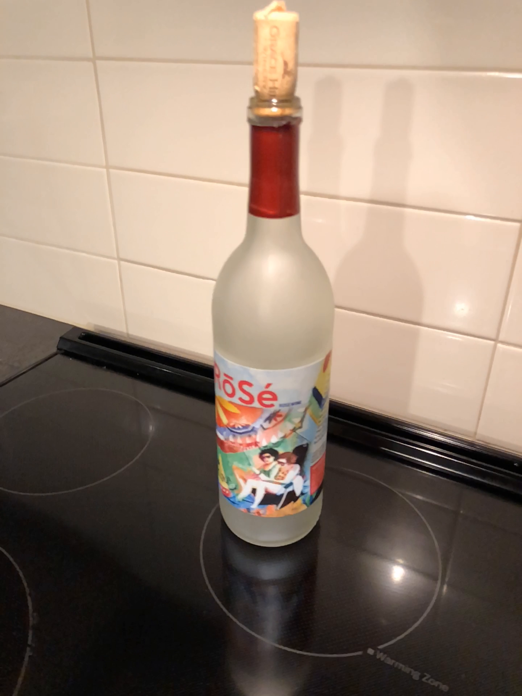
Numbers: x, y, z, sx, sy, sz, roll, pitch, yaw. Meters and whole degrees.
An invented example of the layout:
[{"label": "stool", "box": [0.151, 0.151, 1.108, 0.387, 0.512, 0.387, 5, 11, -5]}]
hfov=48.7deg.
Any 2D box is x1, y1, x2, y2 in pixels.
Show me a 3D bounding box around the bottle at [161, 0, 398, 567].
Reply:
[{"label": "bottle", "box": [0.010, -0.026, 0.346, 0.080, 0.318, 0.080, 0, 28, 0]}]
